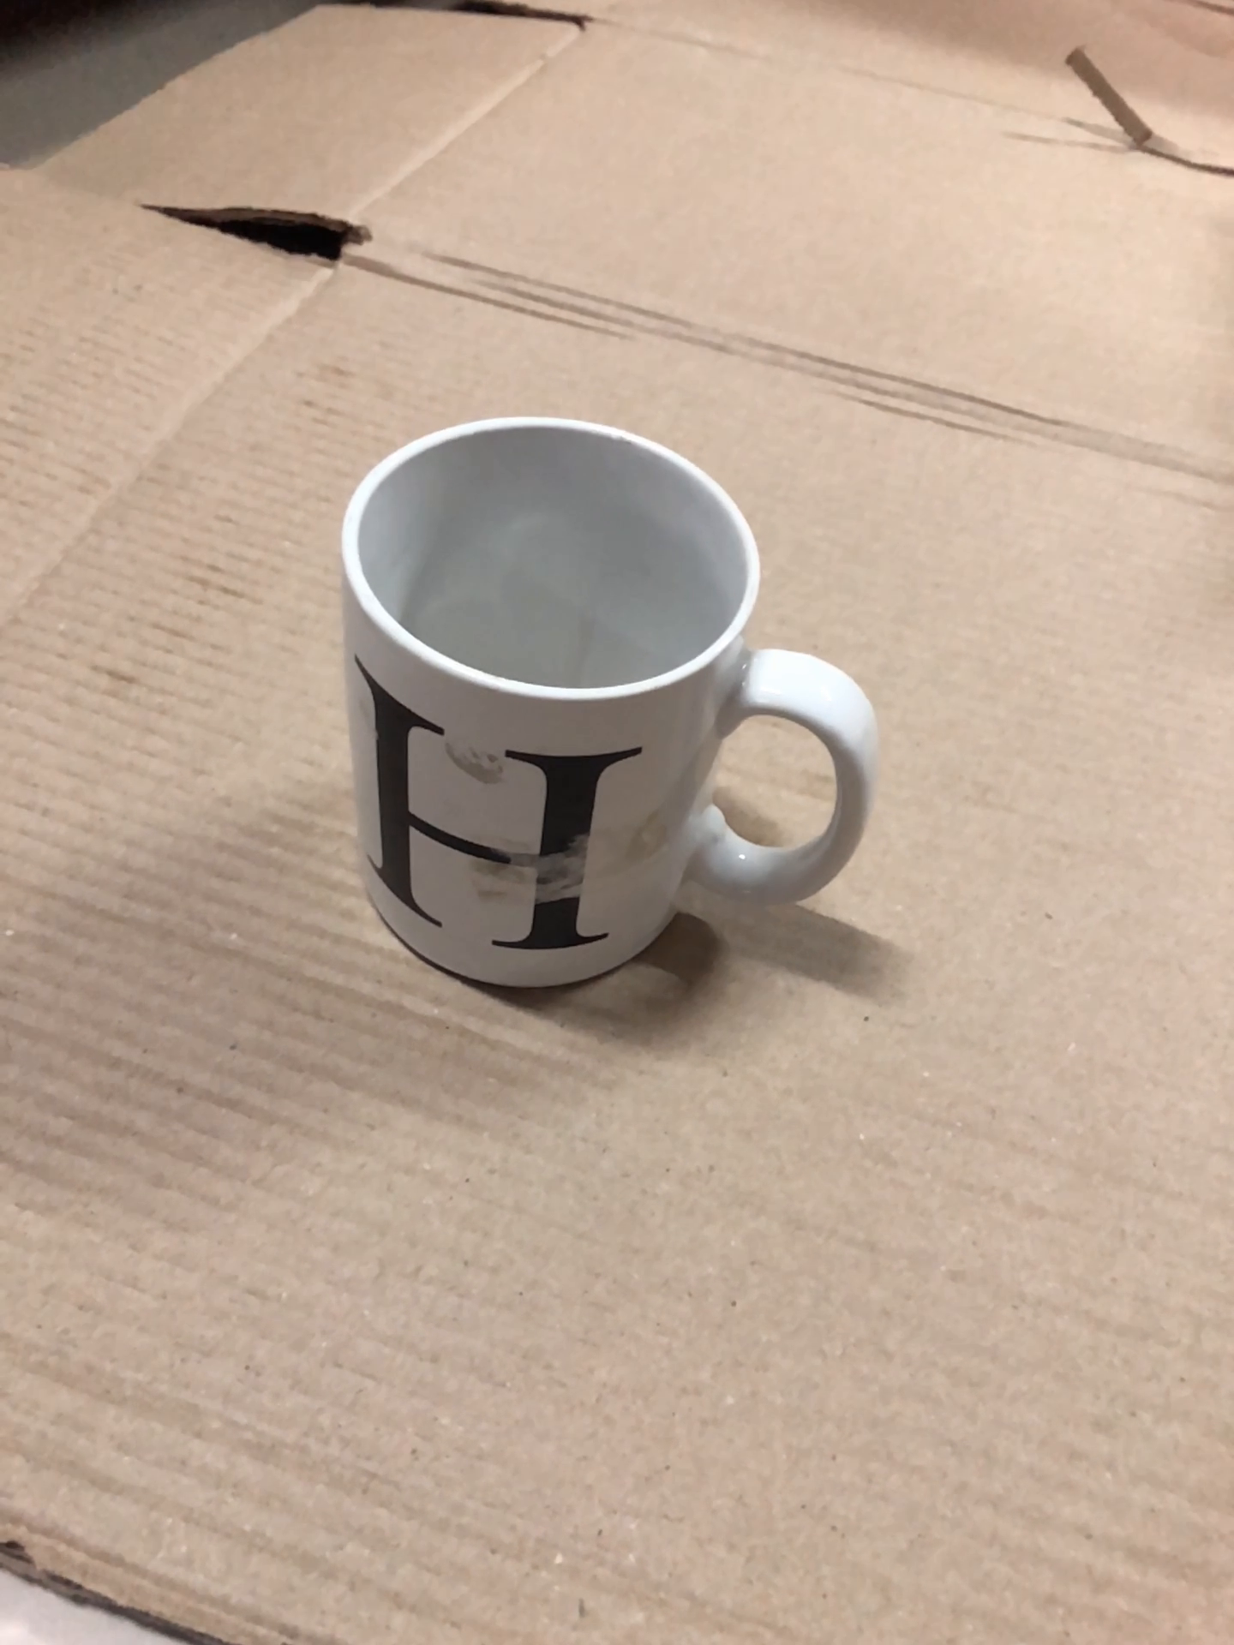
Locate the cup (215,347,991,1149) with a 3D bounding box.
[{"bbox_3d":[-0.002,-0.015,0.267,0.110,0.099,0.080,19,46,10],"label":"cup"}]
